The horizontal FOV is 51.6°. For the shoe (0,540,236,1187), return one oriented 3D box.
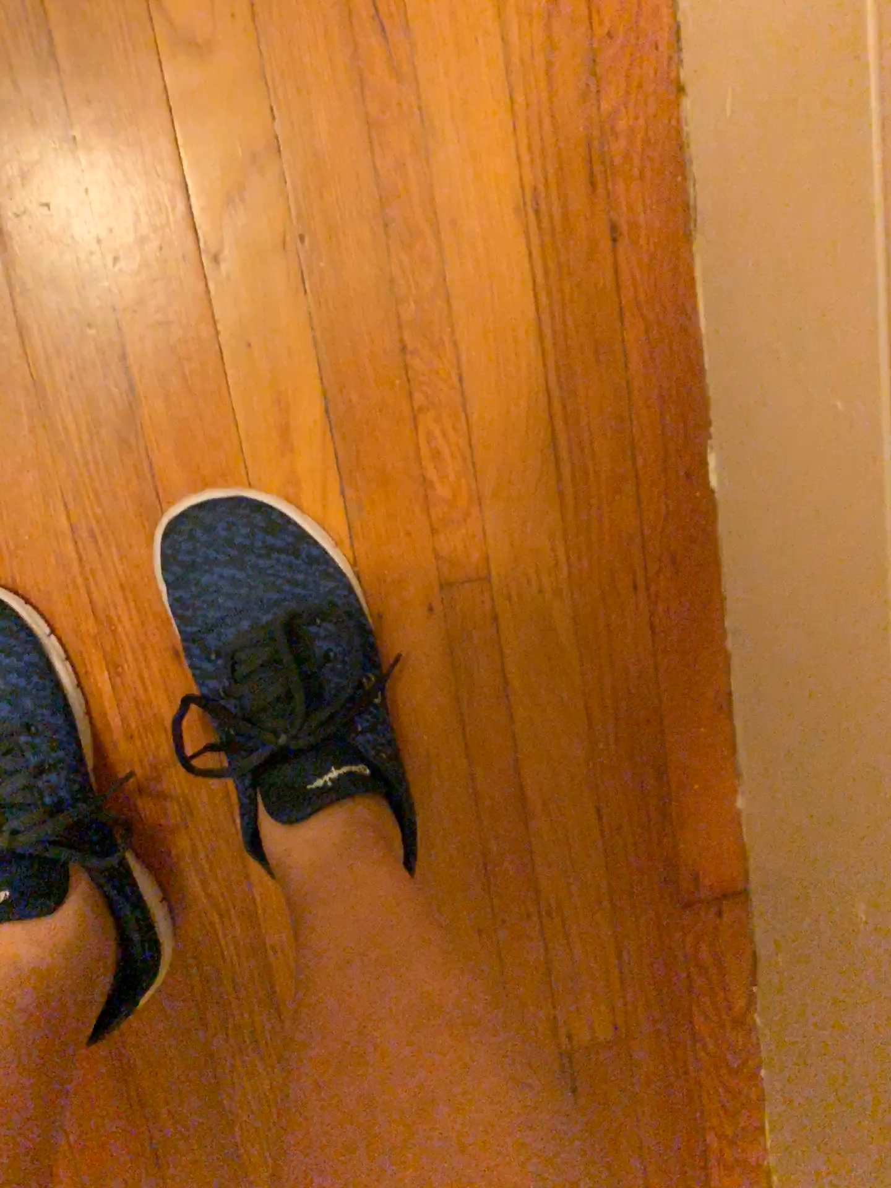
[{"bbox_3d":[-0.230,0.137,0.510,0.115,0.150,0.290,-21,106,-5],"label":"shoe"}]

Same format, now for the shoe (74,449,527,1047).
[{"bbox_3d":[-0.072,0.077,0.515,0.117,0.130,0.280,-23,106,-4],"label":"shoe"}]
